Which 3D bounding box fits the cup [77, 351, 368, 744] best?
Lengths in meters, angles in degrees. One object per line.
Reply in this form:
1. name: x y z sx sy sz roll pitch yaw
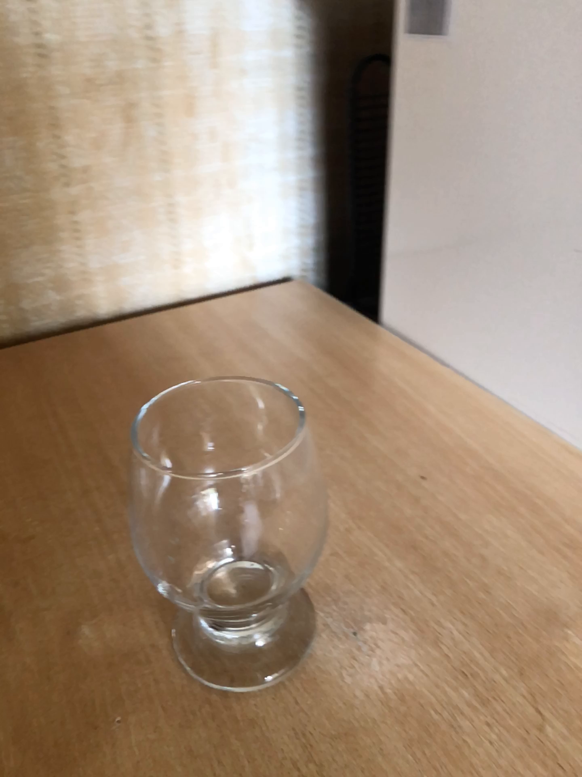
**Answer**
1. cup: -0.025 0.057 0.253 0.077 0.105 0.074 -1 31 1
